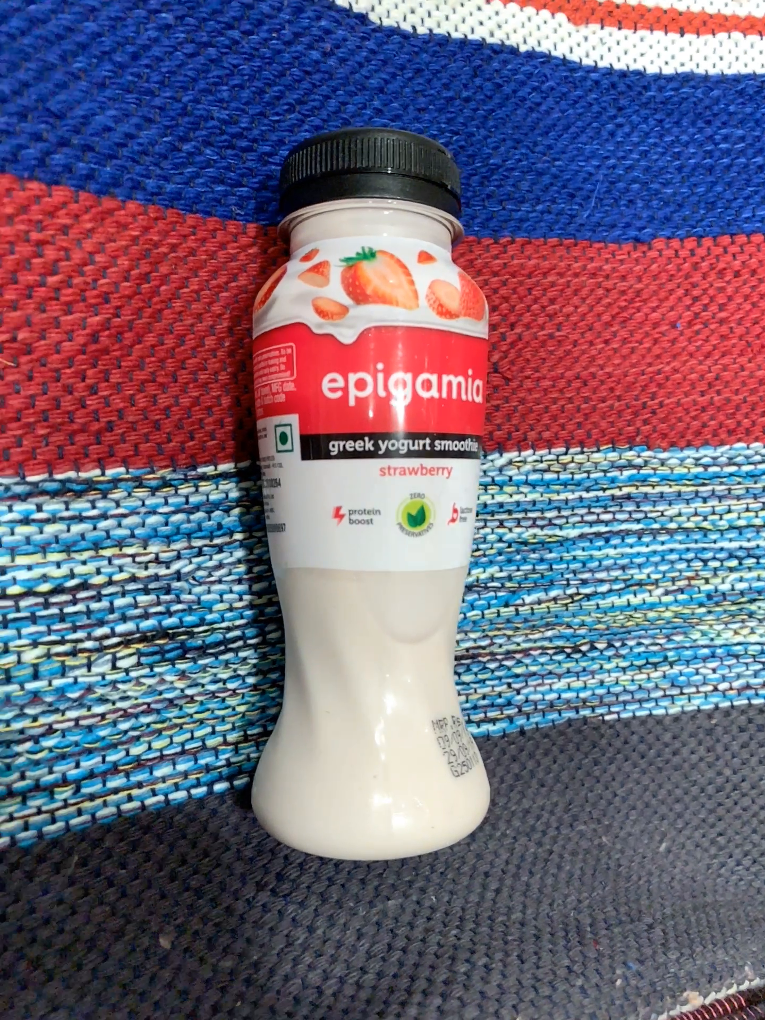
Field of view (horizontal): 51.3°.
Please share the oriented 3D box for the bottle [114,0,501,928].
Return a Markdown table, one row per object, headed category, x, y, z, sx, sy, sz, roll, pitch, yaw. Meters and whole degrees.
| category | x | y | z | sx | sy | sz | roll | pitch | yaw |
| --- | --- | --- | --- | --- | --- | --- | --- | --- | --- |
| bottle | -0.019 | -0.010 | 0.170 | 0.060 | 0.050 | 0.160 | -1 | 87 | -30 |
